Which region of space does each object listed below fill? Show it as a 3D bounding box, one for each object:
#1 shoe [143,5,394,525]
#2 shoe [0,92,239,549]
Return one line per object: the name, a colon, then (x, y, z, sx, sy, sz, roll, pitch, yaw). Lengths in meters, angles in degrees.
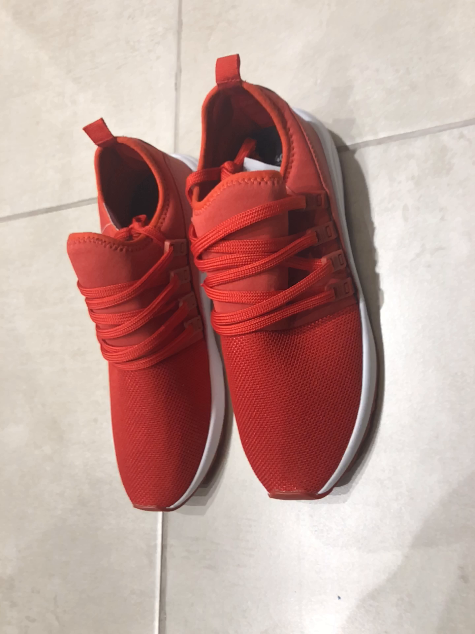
shoe: (0.023, -0.022, 0.347, 0.100, 0.140, 0.270, -8, 78, 26)
shoe: (-0.076, 0.006, 0.392, 0.100, 0.140, 0.270, -4, 80, 27)
